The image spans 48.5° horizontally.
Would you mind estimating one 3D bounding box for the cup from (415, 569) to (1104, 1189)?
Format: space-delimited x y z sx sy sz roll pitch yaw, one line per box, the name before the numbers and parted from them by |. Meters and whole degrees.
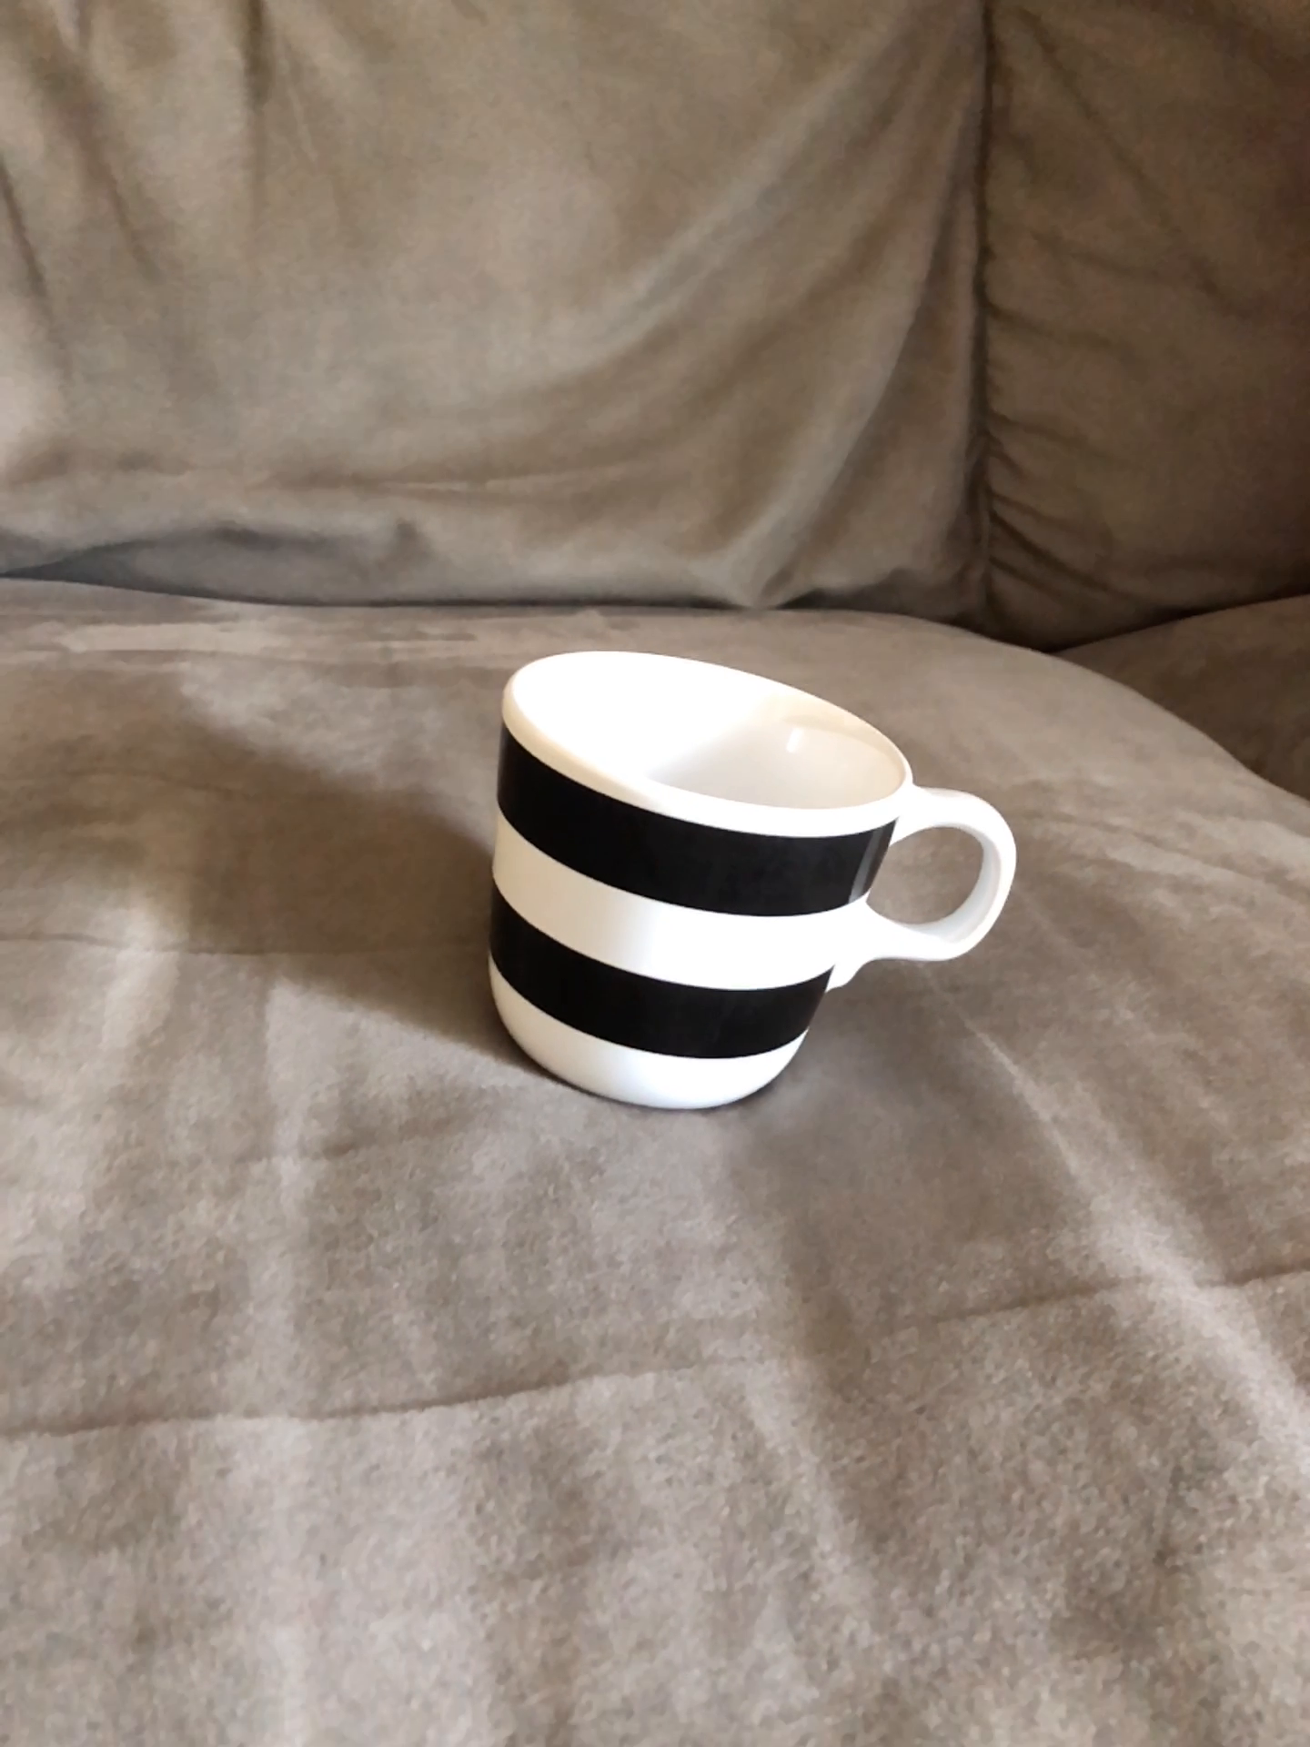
cup | 0.018 -0.002 0.302 0.110 0.080 0.080 12 27 -3
